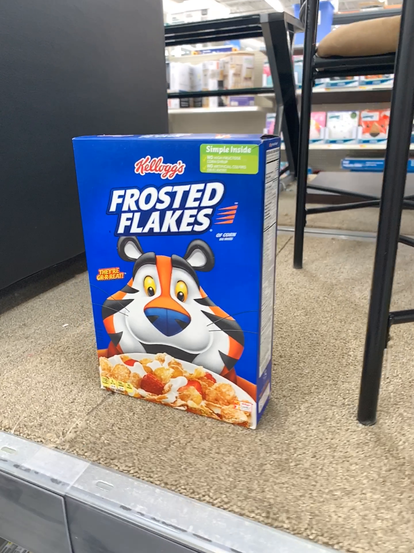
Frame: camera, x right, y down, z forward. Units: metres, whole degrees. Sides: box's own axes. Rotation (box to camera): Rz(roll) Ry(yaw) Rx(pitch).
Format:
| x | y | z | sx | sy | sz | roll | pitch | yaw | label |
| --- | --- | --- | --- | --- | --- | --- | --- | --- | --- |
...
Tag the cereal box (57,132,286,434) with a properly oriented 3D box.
| x | y | z | sx | sy | sz | roll | pitch | yaw | label |
| --- | --- | --- | --- | --- | --- | --- | --- | --- | --- |
| -0.033 | 0.000 | 0.456 | 0.210 | 0.289 | 0.070 | 8 | 22 | 23 | cereal box |
